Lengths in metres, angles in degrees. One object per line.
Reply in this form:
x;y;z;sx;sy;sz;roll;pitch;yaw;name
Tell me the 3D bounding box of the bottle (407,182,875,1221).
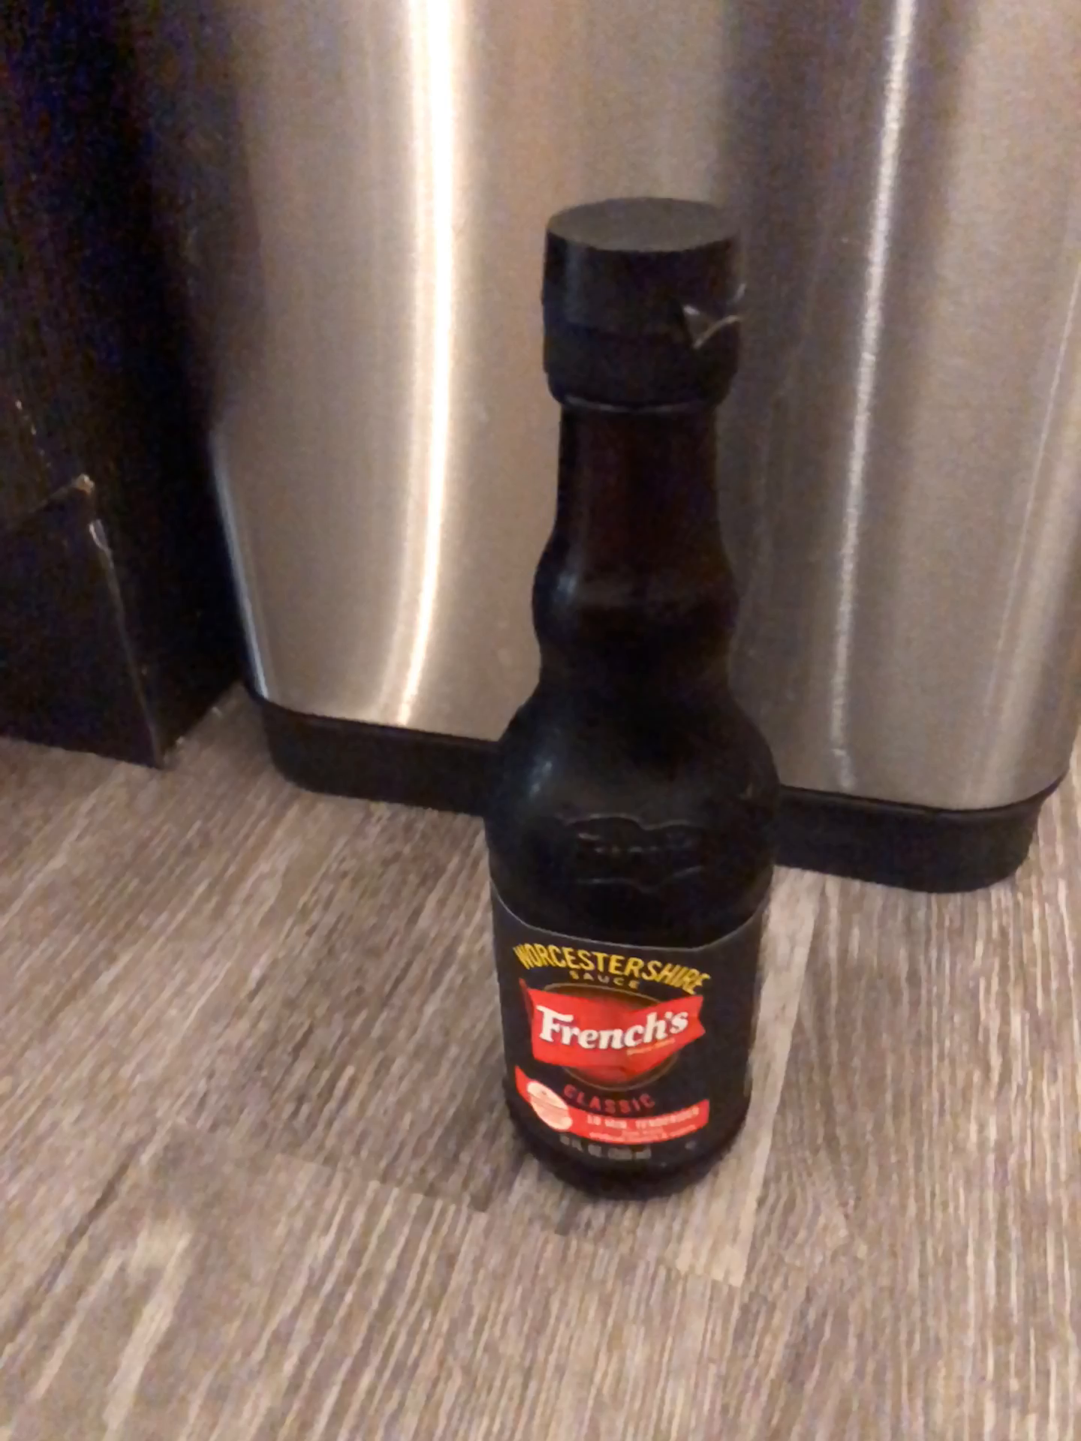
0.020;0.009;0.236;0.060;0.199;0.060;-1;36;1;bottle
